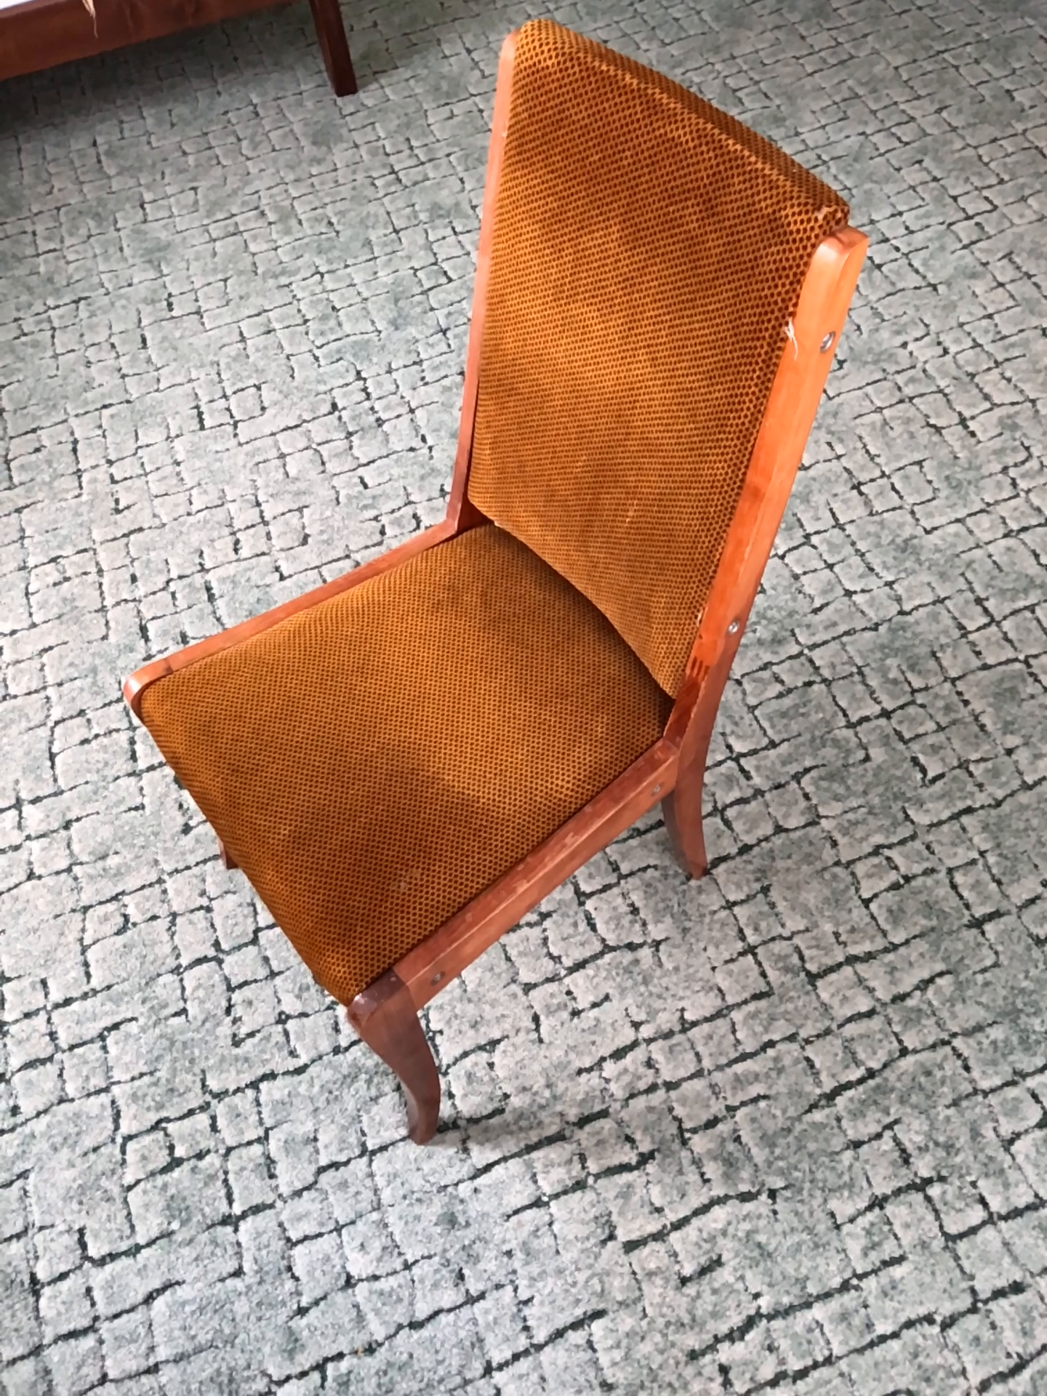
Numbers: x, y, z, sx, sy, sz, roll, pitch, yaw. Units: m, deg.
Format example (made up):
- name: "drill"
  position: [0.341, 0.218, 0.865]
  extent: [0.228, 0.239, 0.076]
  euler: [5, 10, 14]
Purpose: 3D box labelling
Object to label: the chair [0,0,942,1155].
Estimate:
- name: "chair"
  position: [-0.085, -0.038, 1.063]
  extent: [0.529, 0.925, 0.472]
  euler: [-34, 61, -16]
